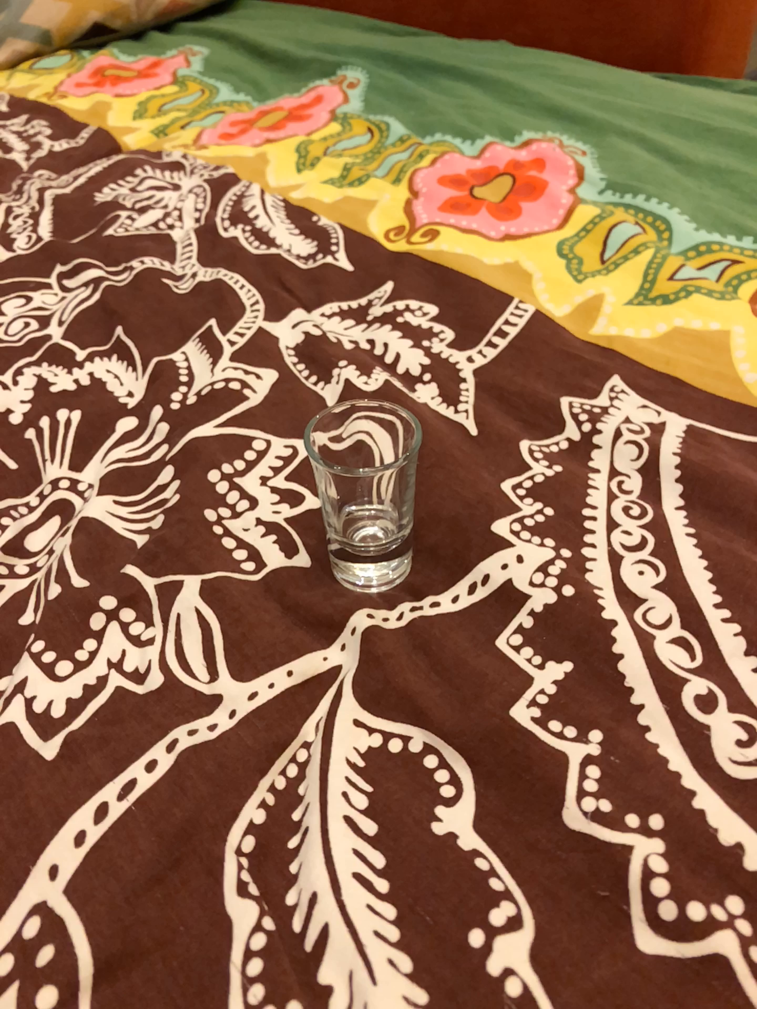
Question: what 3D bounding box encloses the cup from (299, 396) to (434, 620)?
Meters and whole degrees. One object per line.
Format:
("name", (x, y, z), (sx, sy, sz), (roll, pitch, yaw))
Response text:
("cup", (-0.006, 0.002, 0.320), (0.042, 0.070, 0.045), (0, 41, 0))
